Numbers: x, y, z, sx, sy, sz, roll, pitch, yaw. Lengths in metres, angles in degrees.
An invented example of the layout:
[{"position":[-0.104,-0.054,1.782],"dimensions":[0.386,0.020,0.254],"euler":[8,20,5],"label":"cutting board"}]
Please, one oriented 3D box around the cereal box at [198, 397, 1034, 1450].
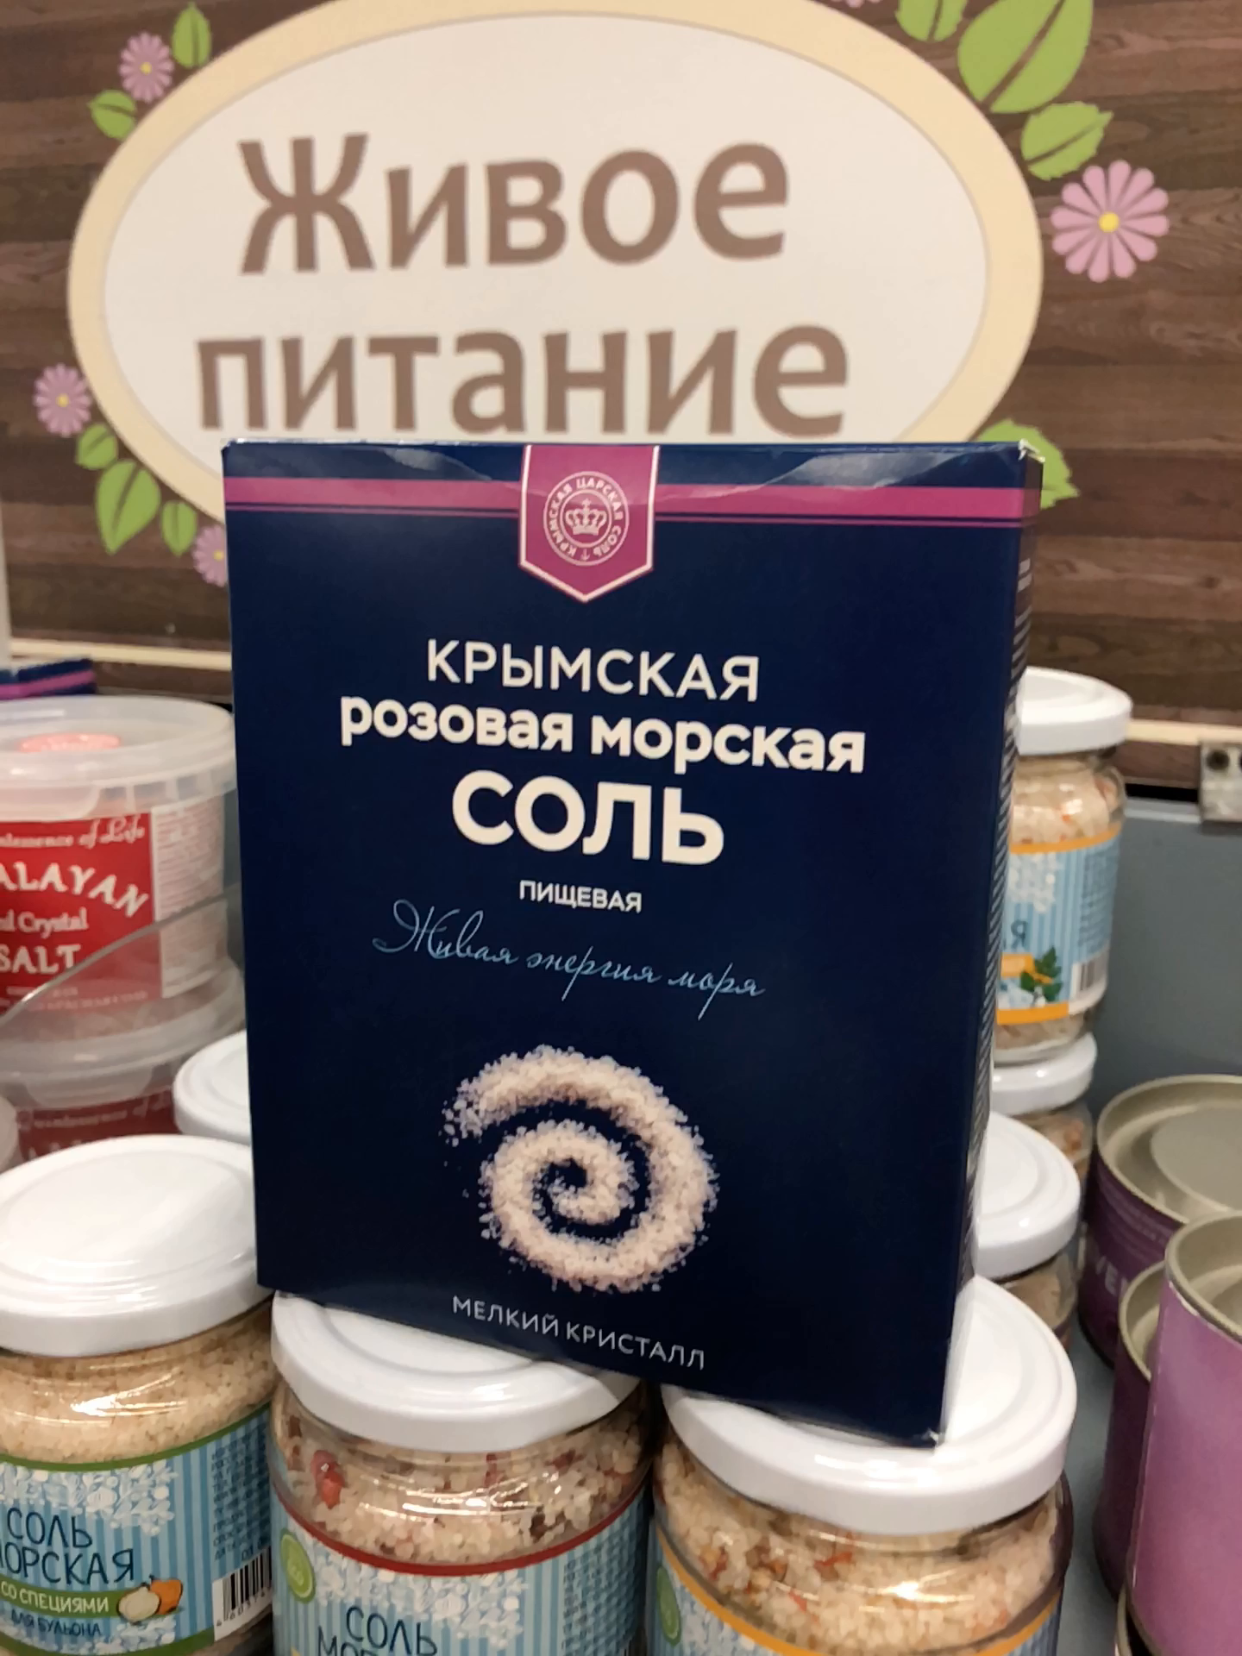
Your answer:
[{"position":[-0.003,0.009,0.226],"dimensions":[0.120,0.149,0.040],"euler":[6,14,19],"label":"cereal box"}]
